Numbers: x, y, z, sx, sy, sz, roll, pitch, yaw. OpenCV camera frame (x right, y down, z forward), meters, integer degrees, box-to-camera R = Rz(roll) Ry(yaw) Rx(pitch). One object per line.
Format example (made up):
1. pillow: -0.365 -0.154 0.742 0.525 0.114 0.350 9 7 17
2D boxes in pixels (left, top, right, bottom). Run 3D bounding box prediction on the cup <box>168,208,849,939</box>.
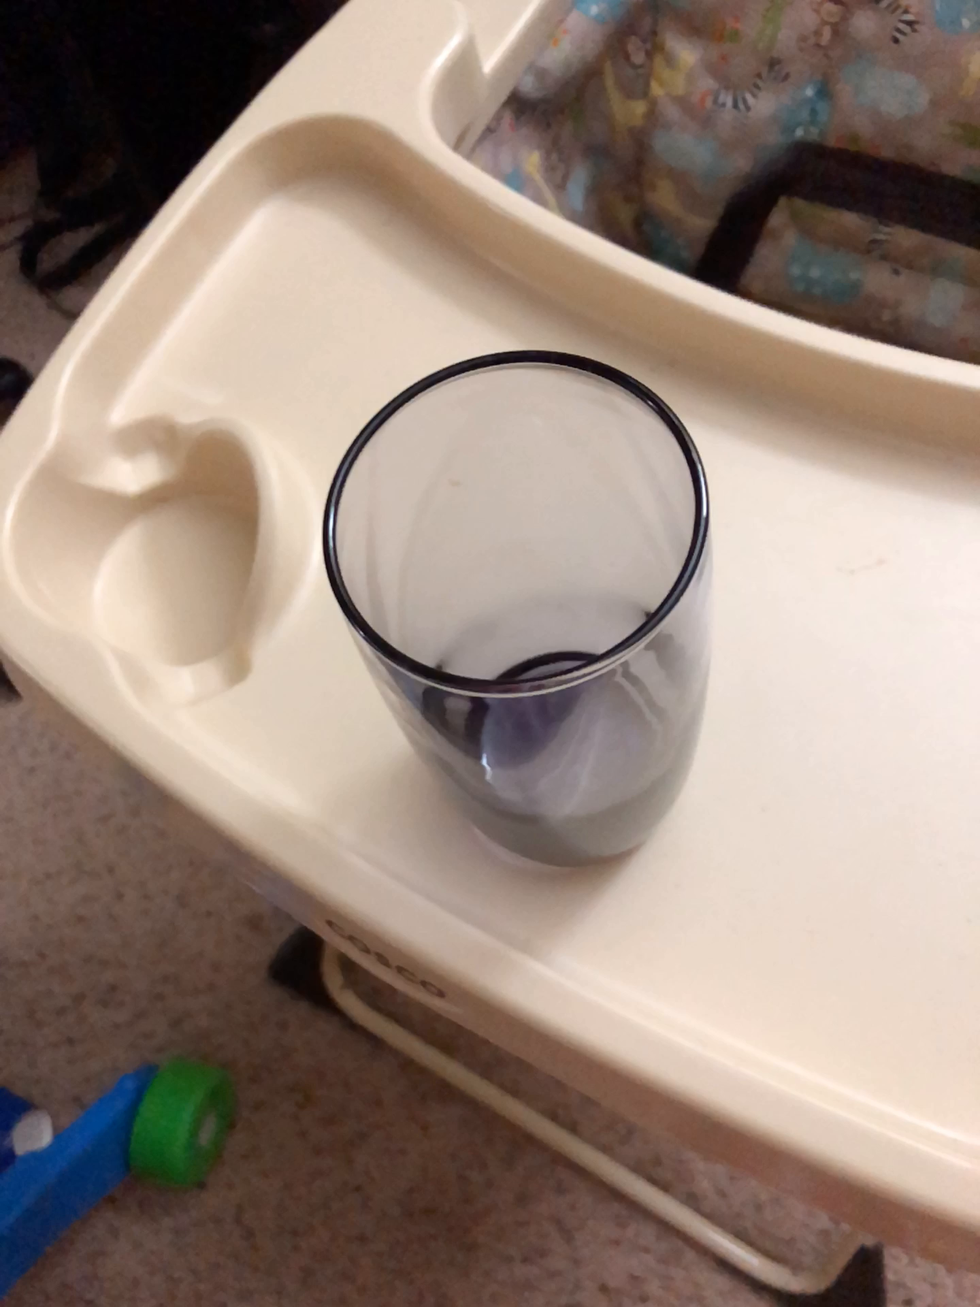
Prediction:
1. cup: 0.010 -0.005 0.250 0.084 0.134 0.083 -3 67 8
